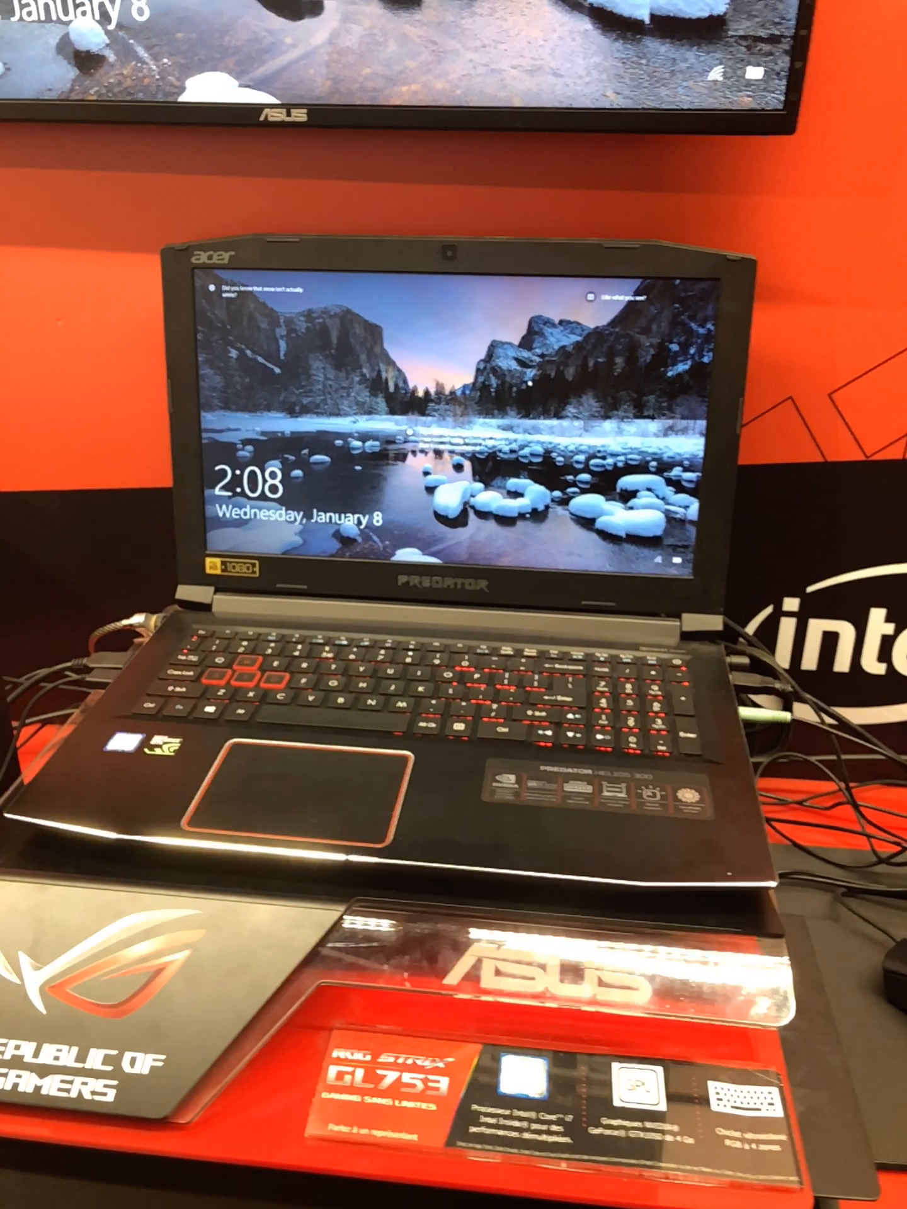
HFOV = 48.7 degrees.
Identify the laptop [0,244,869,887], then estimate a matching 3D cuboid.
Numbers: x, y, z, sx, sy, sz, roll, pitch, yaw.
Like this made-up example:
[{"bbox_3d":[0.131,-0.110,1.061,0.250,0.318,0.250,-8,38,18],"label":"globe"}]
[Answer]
[{"bbox_3d":[-0.019,-0.056,0.571,0.385,0.240,0.295,3,26,7],"label":"laptop"}]
